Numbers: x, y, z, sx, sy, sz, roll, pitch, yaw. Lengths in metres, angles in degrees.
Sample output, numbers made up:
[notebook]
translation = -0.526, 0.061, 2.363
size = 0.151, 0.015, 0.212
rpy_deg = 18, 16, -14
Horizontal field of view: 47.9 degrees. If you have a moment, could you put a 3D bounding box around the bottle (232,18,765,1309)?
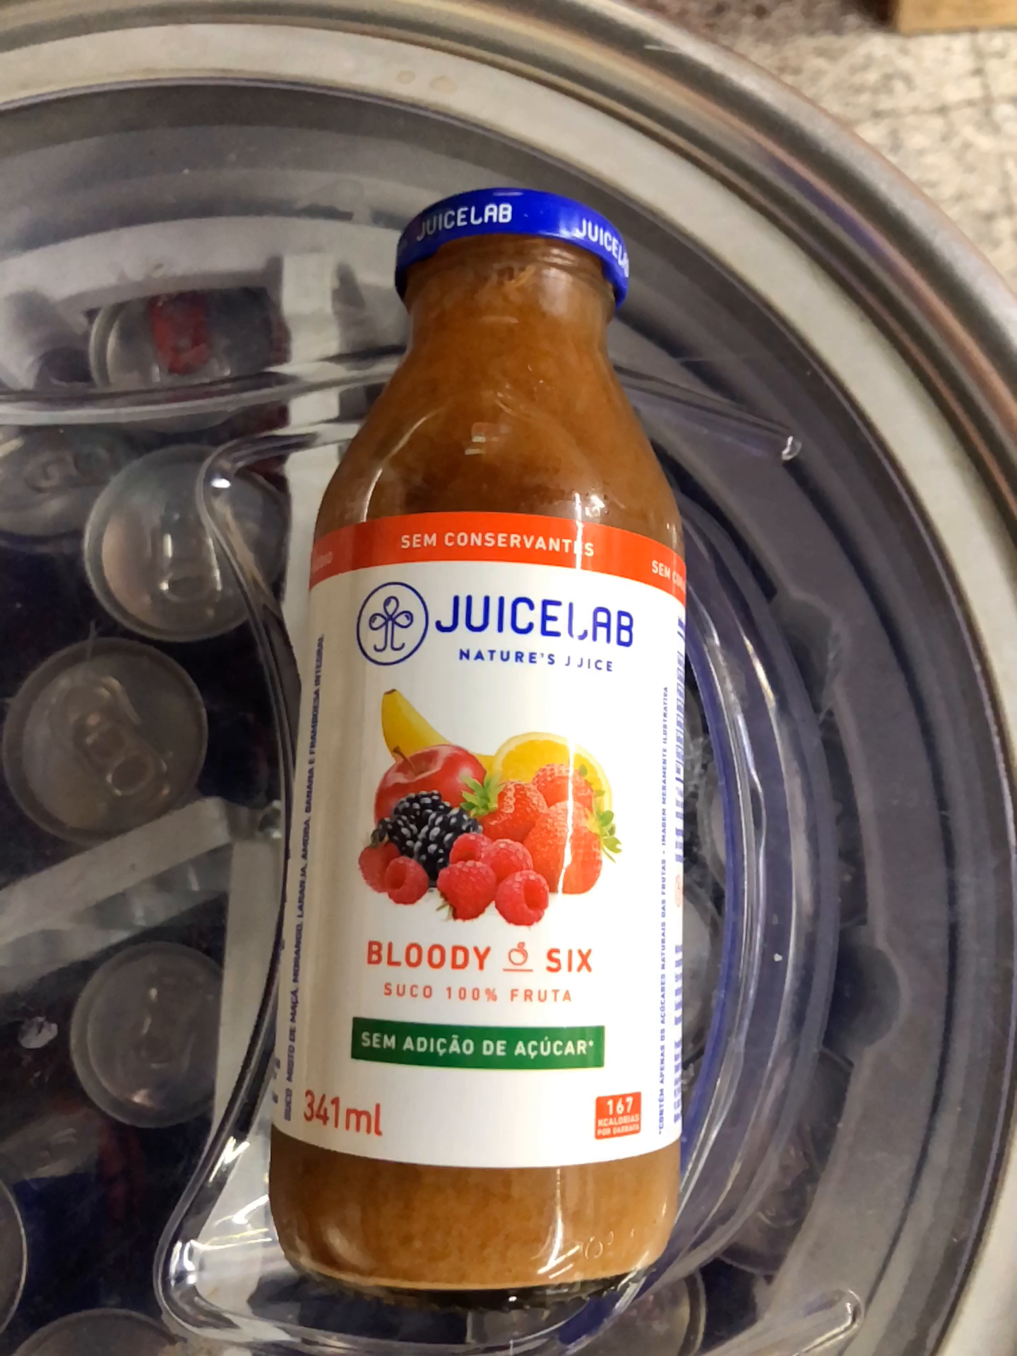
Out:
[bottle]
translation = -0.002, -0.005, 0.198
size = 0.070, 0.060, 0.190
rpy_deg = 3, 78, -7
